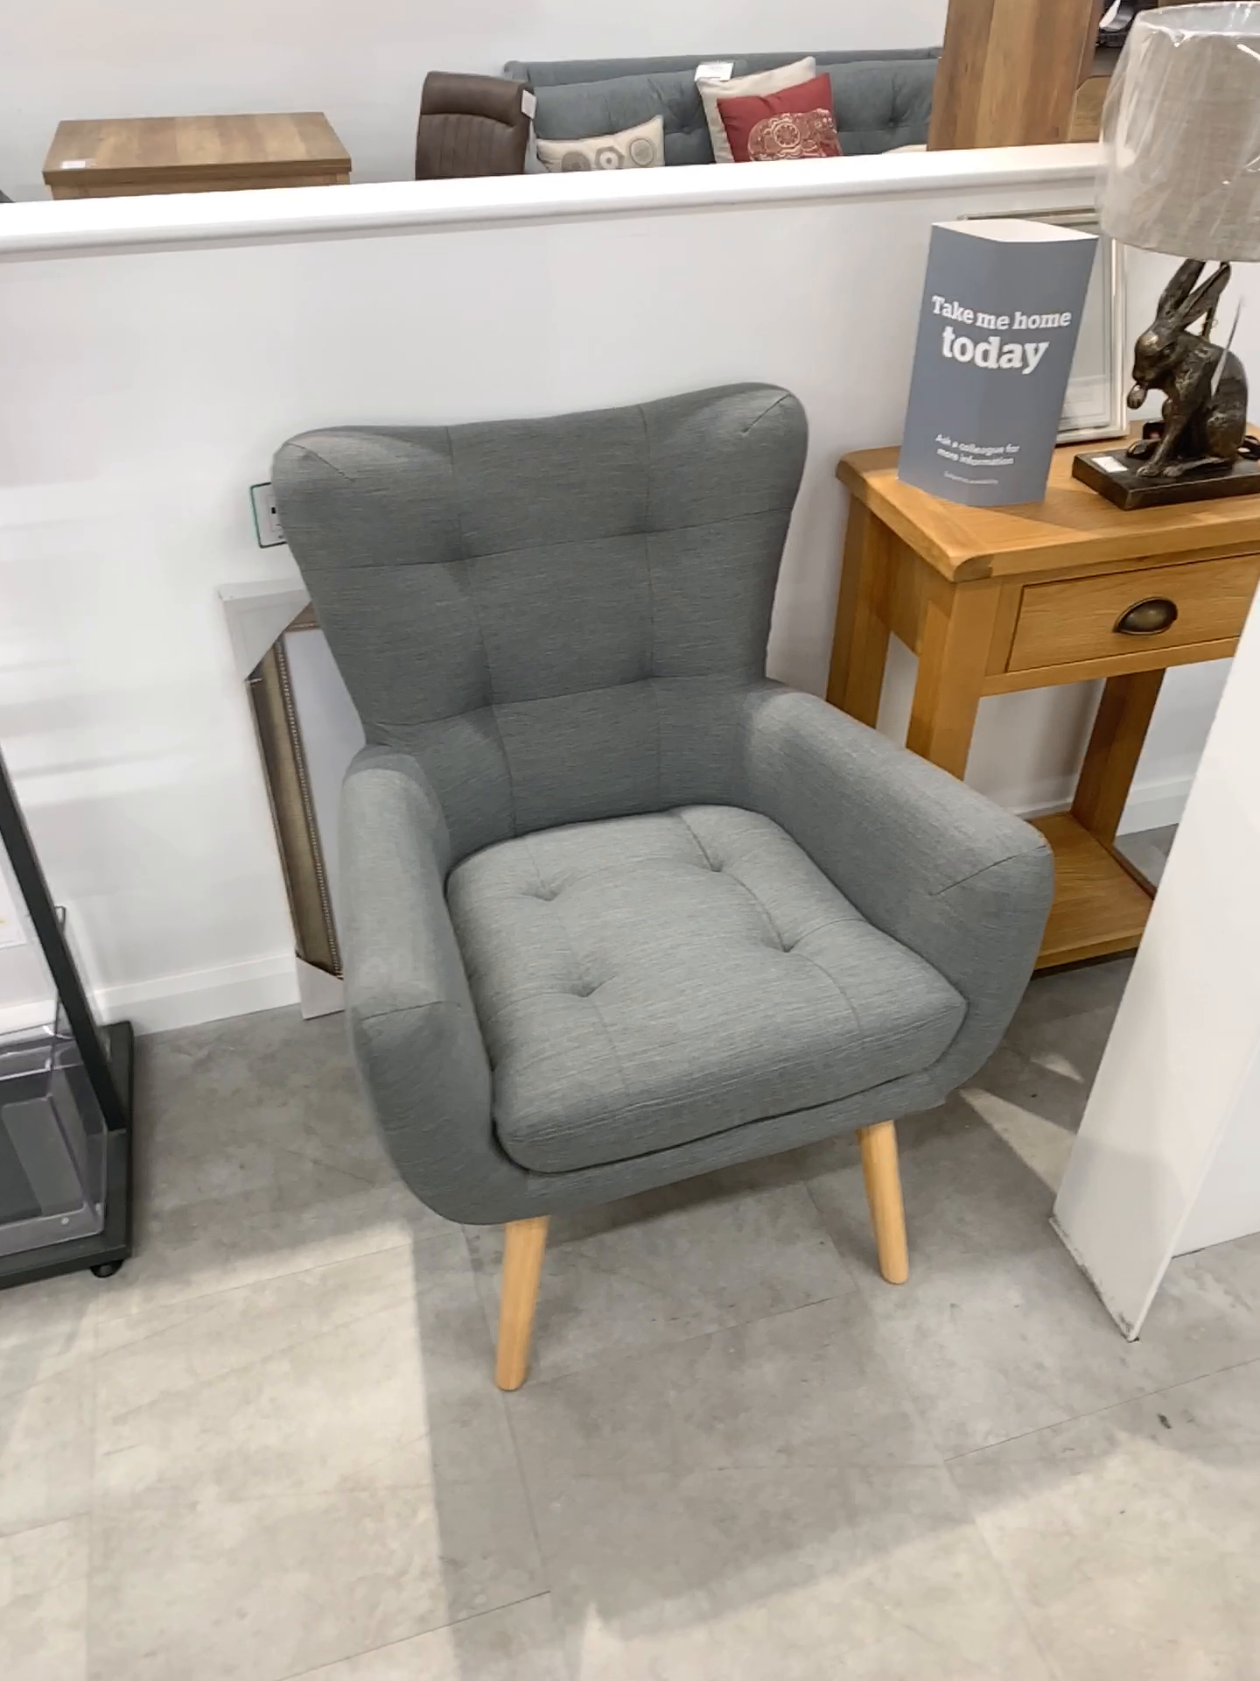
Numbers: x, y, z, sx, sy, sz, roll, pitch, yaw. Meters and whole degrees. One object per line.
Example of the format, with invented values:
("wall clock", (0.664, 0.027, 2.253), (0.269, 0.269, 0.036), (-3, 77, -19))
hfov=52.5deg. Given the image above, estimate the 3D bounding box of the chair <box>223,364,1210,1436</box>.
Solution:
("chair", (0.027, 0.052, 1.367), (0.708, 0.878, 0.543), (-11, 38, -14))
